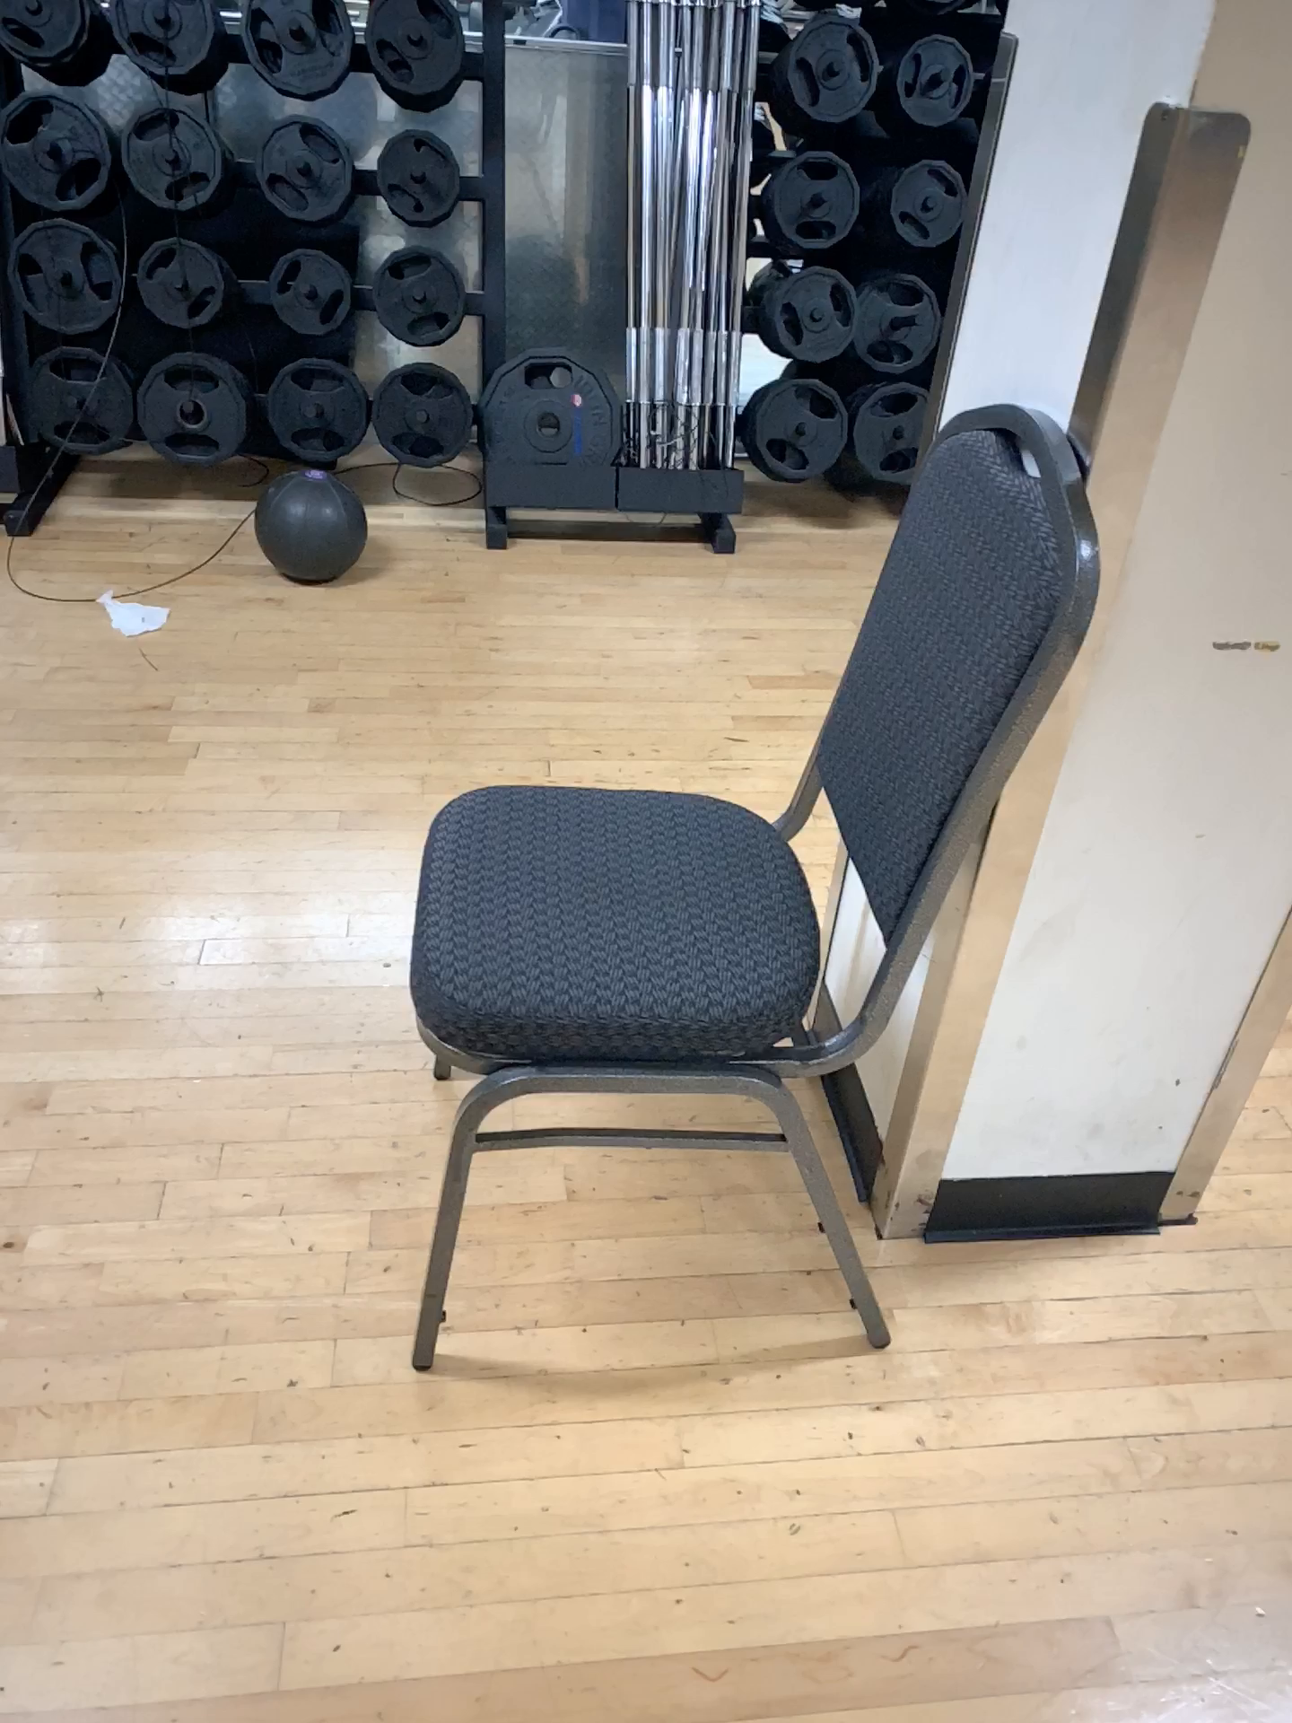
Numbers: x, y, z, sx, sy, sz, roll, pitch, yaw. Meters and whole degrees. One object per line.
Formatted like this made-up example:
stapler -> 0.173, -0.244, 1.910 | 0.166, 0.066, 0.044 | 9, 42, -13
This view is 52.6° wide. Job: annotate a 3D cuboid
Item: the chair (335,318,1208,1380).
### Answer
chair -> 0.037, 0.019, 1.279 | 0.564, 0.908, 0.467 | 1, 35, -6
